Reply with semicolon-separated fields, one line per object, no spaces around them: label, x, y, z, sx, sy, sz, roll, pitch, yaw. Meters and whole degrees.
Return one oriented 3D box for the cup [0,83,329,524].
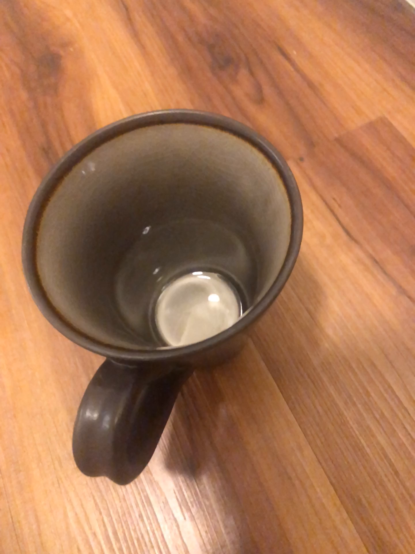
cup;-0.017;0.010;0.212;0.114;0.100;0.155;9;66;13
